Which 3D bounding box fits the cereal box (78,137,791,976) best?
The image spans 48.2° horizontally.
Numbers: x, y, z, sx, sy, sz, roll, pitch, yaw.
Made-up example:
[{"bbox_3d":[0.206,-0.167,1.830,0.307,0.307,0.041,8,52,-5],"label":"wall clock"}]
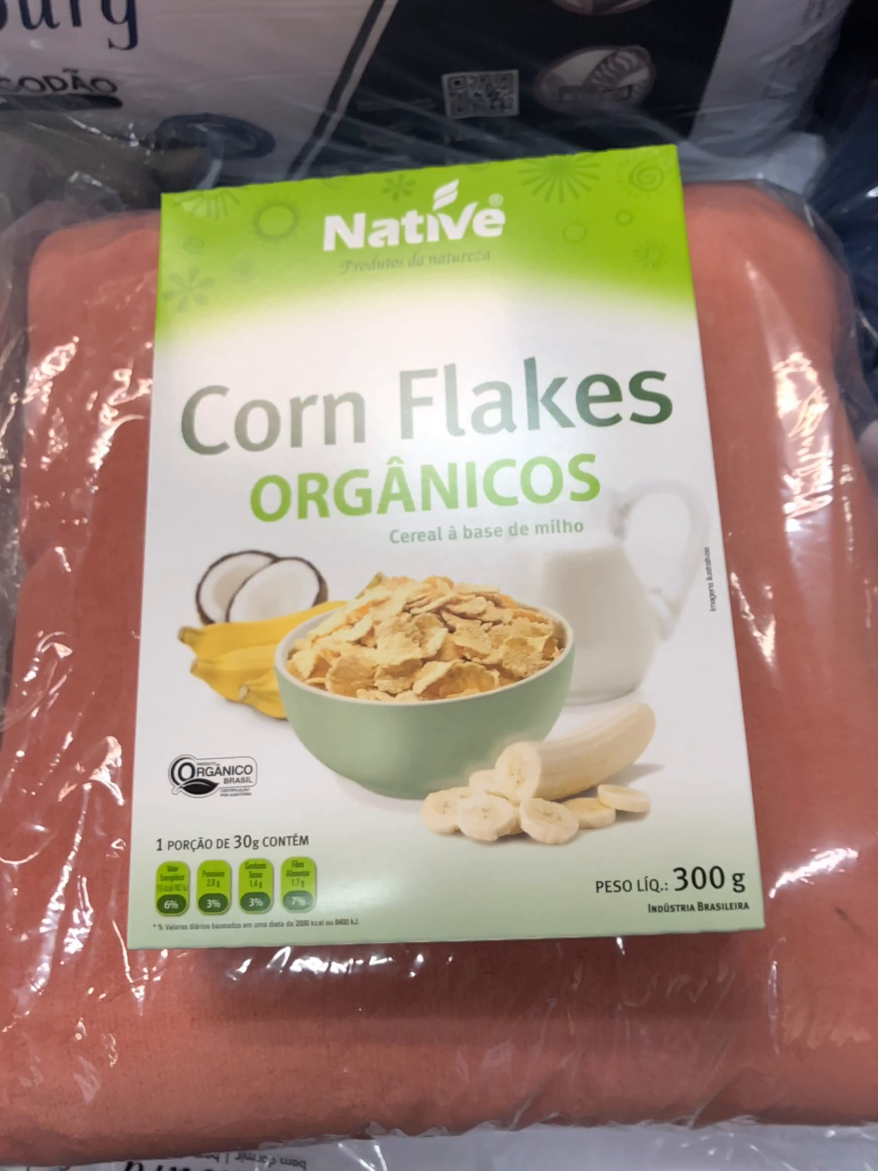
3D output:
[{"bbox_3d":[-0.005,-0.012,0.308,0.180,0.060,0.240,-3,74,3],"label":"cereal box"}]
